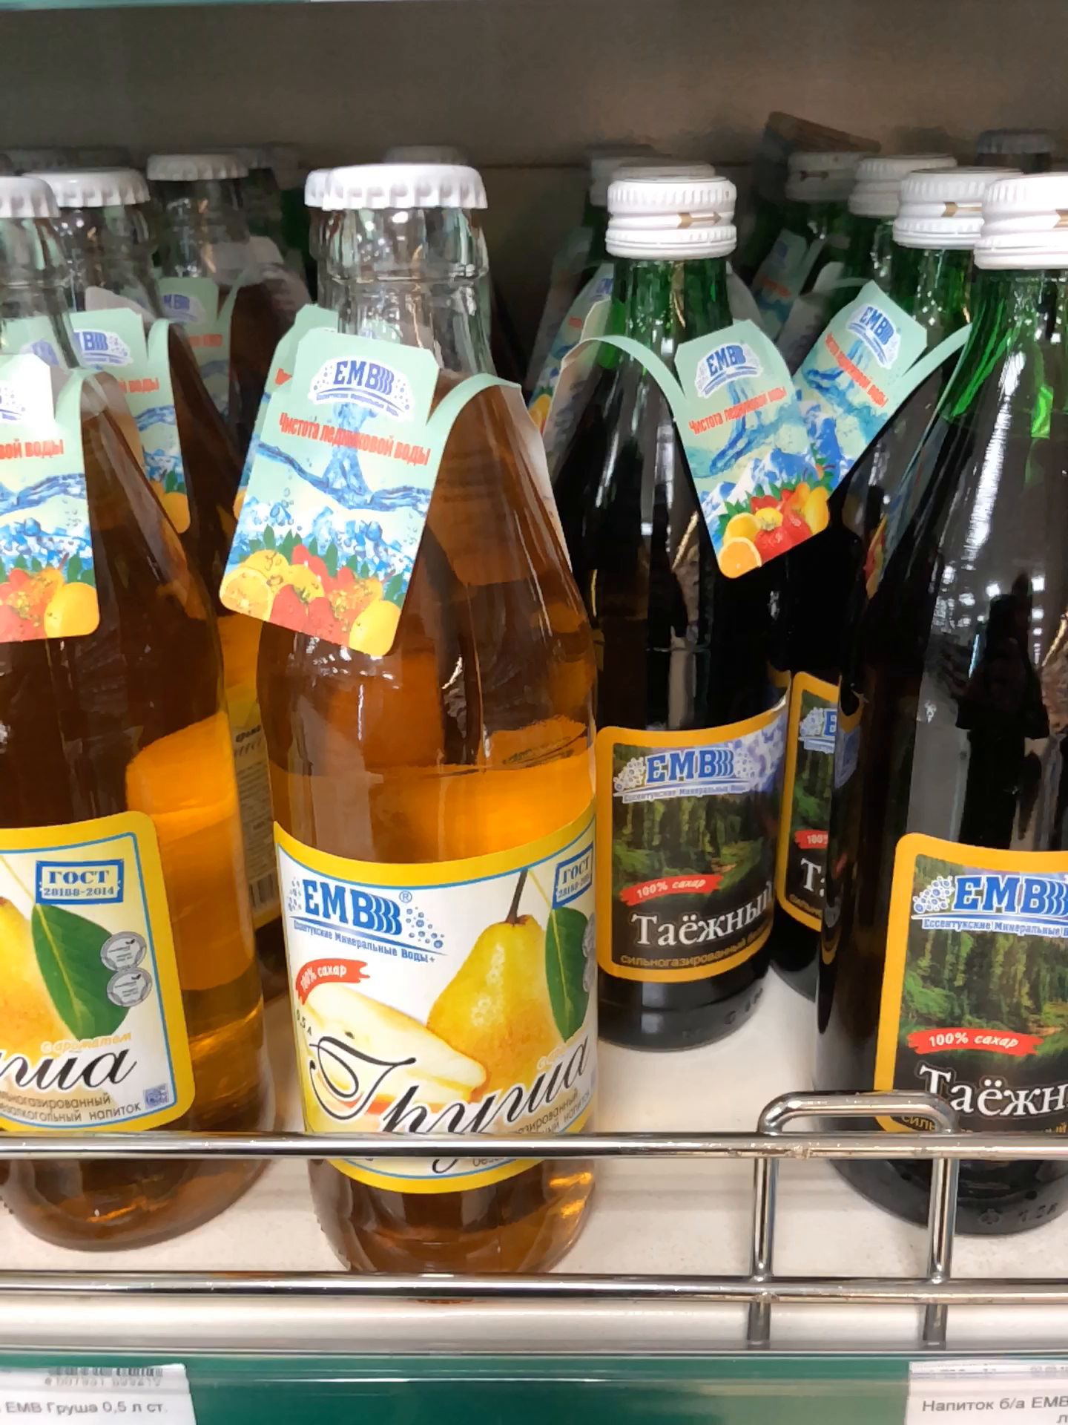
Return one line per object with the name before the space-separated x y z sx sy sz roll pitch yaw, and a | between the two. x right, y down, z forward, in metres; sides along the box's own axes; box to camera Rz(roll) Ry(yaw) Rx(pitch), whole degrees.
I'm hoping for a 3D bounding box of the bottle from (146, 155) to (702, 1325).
bottle | -0.015 0.013 0.250 0.080 0.234 0.070 -1 23 -1
